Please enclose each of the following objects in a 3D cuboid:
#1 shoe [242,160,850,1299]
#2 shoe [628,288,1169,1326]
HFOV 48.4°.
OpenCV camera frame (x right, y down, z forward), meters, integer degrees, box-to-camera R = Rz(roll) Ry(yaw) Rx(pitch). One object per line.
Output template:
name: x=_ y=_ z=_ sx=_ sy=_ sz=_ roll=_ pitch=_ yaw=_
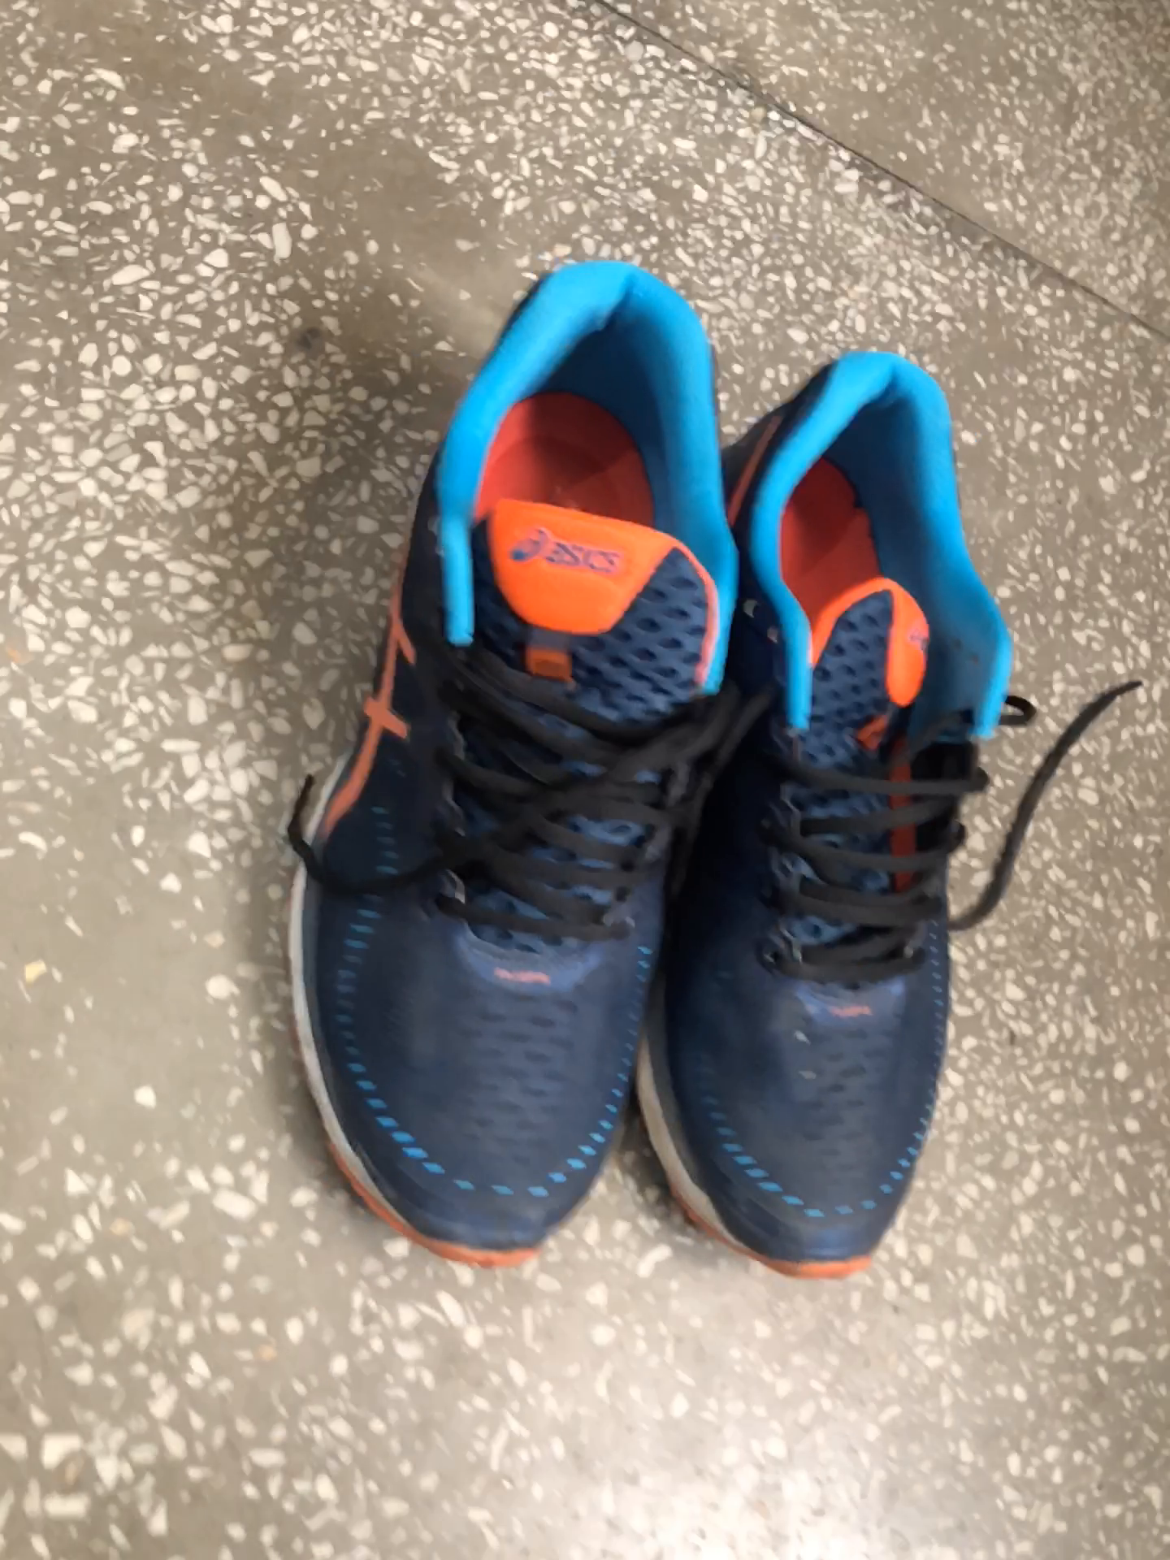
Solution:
shoe: x=-0.005 y=-0.012 z=0.375 sx=0.118 sy=0.100 sz=0.288 roll=13 pitch=68 yaw=-18
shoe: x=0.096 y=0.010 z=0.411 sx=0.118 sy=0.100 sz=0.288 roll=12 pitch=68 yaw=-19
